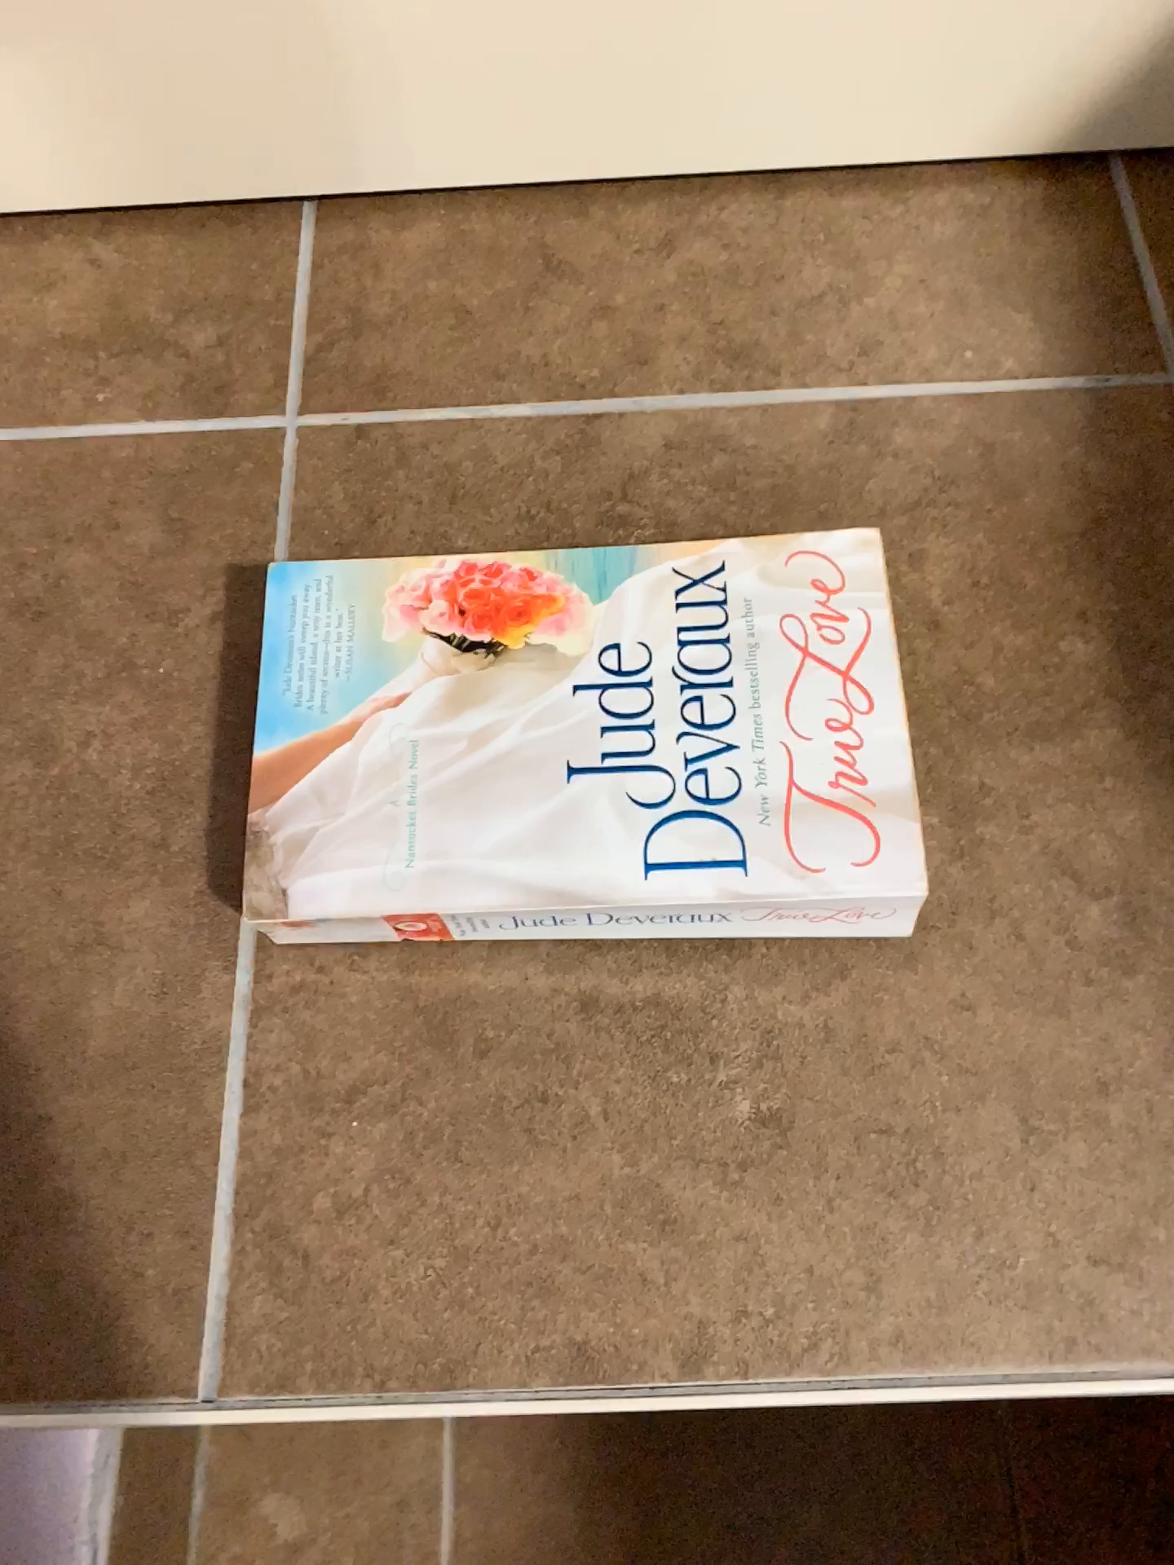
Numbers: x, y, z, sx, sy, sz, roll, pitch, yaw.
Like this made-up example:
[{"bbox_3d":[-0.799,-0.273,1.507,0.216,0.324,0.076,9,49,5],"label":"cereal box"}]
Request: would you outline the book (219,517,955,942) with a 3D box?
[{"bbox_3d":[0.000,-0.014,0.335,0.179,0.047,0.106,-1,67,2],"label":"book"}]
